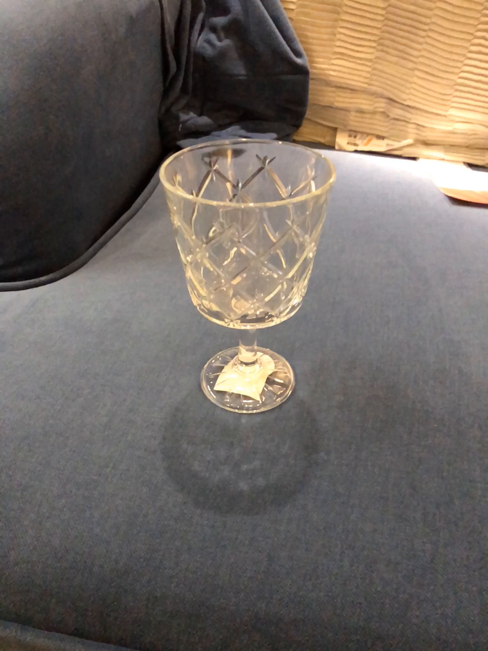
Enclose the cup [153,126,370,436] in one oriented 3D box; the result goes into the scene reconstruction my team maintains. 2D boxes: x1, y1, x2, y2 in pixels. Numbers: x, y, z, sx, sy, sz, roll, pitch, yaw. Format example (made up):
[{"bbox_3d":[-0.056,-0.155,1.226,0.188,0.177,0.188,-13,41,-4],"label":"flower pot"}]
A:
[{"bbox_3d":[0.002,-0.024,0.301,0.090,0.139,0.090,1,38,0],"label":"cup"}]
